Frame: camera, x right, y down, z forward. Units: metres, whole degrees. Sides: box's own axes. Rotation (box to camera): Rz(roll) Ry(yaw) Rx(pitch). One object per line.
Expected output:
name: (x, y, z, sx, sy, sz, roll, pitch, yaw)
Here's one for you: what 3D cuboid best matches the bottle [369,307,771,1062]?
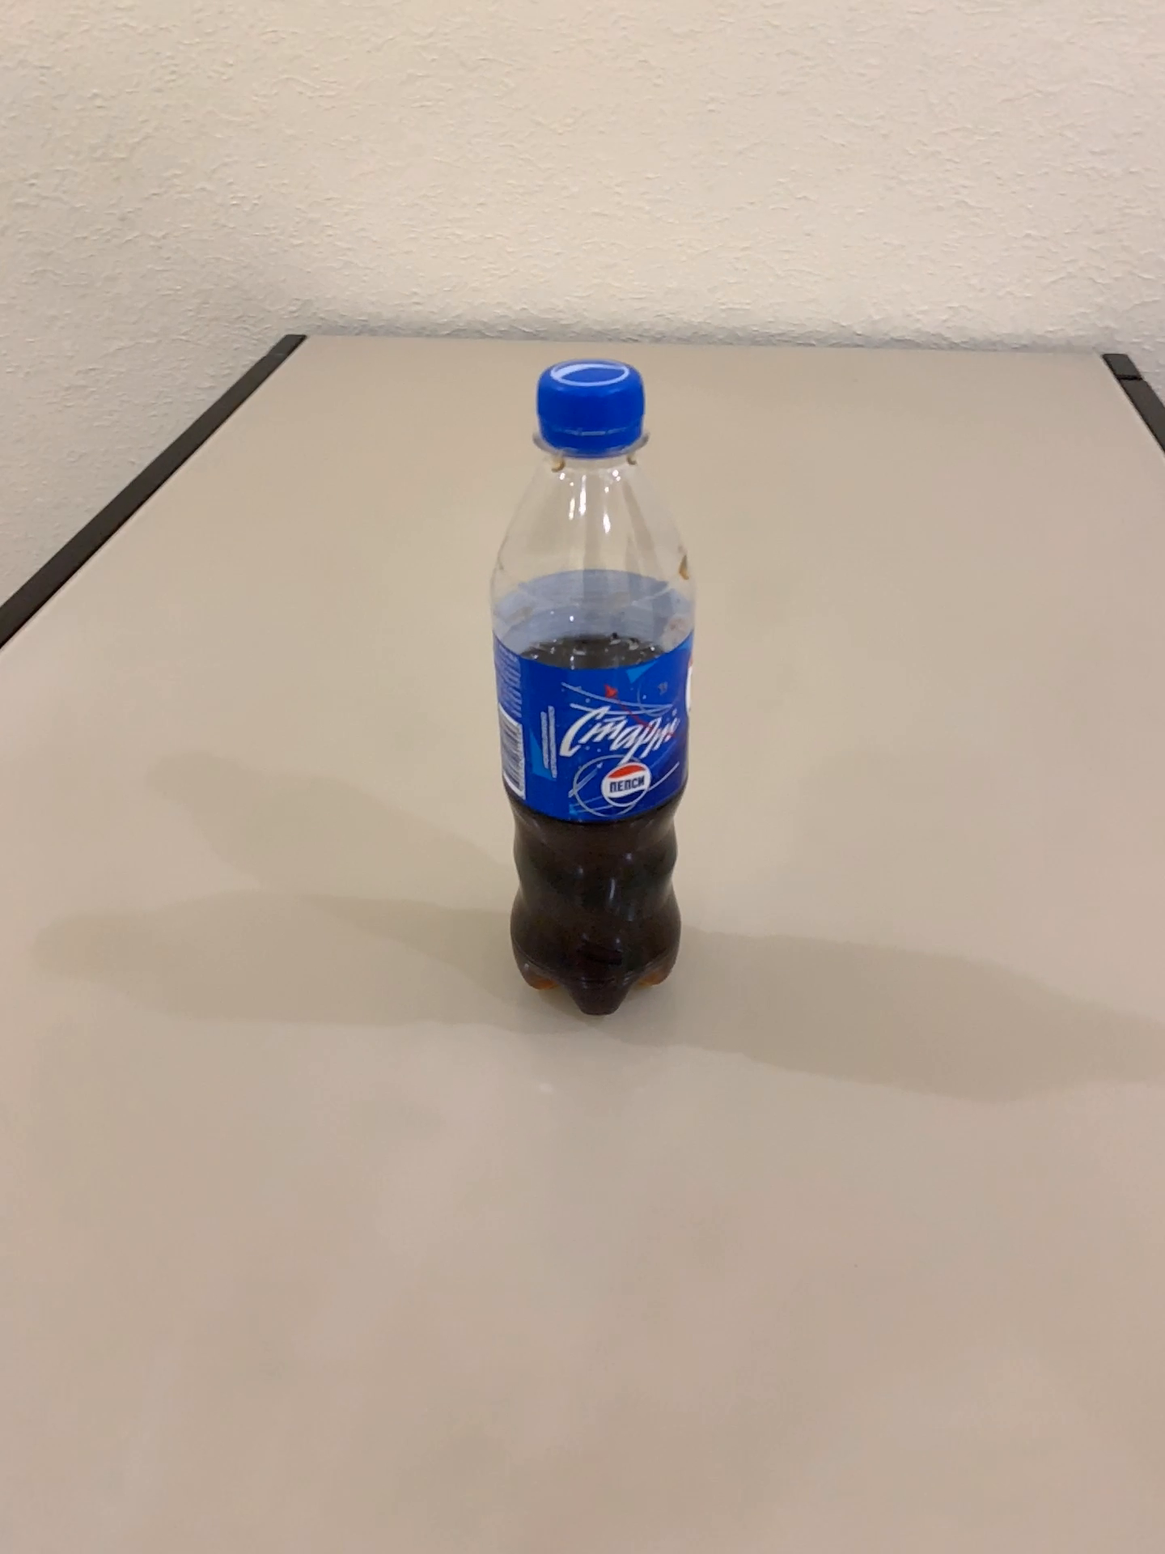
bottle: (-0.001, -0.024, 0.403, 0.080, 0.229, 0.080, -1, 37, 1)
